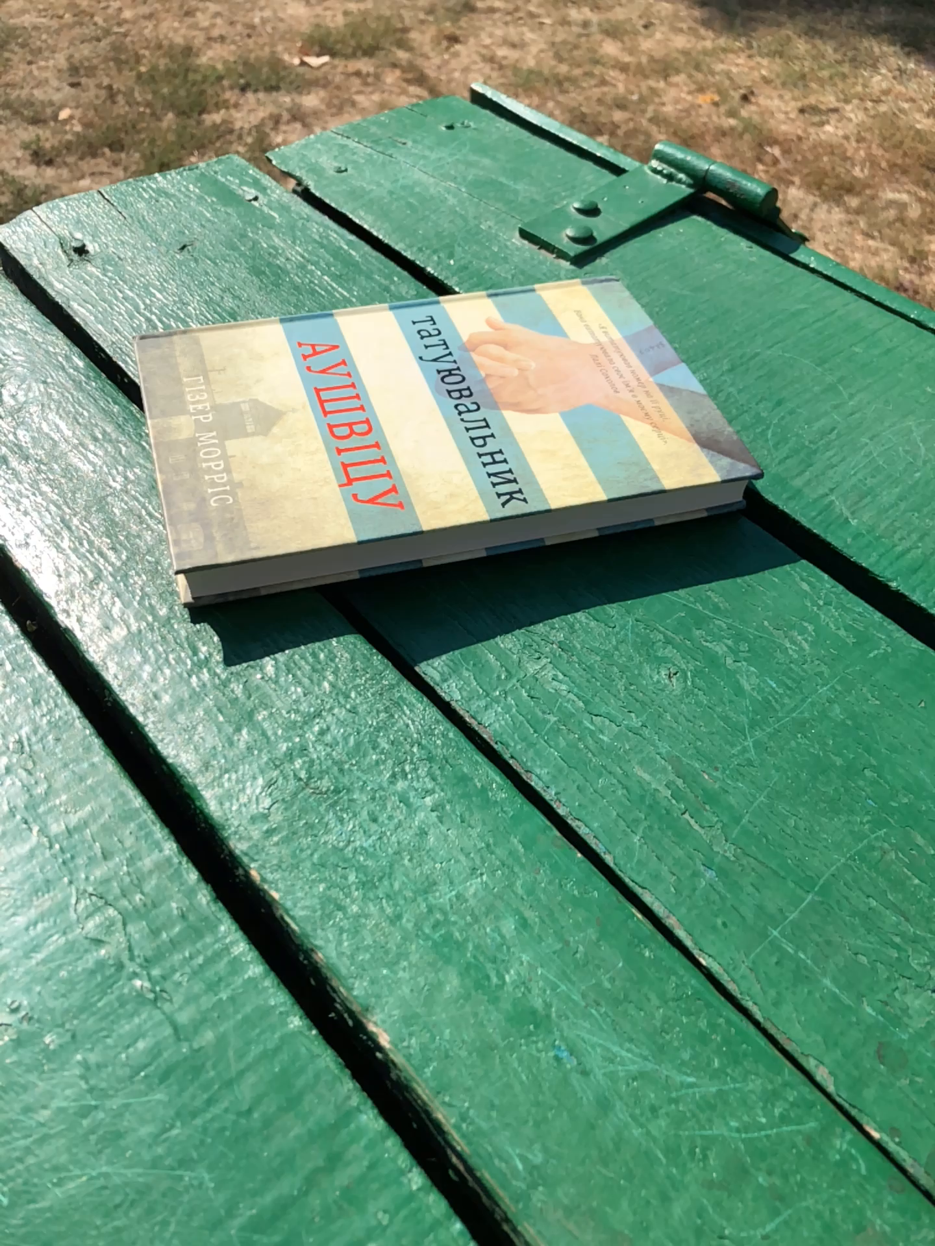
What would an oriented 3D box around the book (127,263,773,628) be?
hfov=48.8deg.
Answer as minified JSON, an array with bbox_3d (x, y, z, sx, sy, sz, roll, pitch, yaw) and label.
[{"bbox_3d":[-0.014,-0.080,0.399,0.213,0.020,0.148,-12,51,-13],"label":"book"}]
